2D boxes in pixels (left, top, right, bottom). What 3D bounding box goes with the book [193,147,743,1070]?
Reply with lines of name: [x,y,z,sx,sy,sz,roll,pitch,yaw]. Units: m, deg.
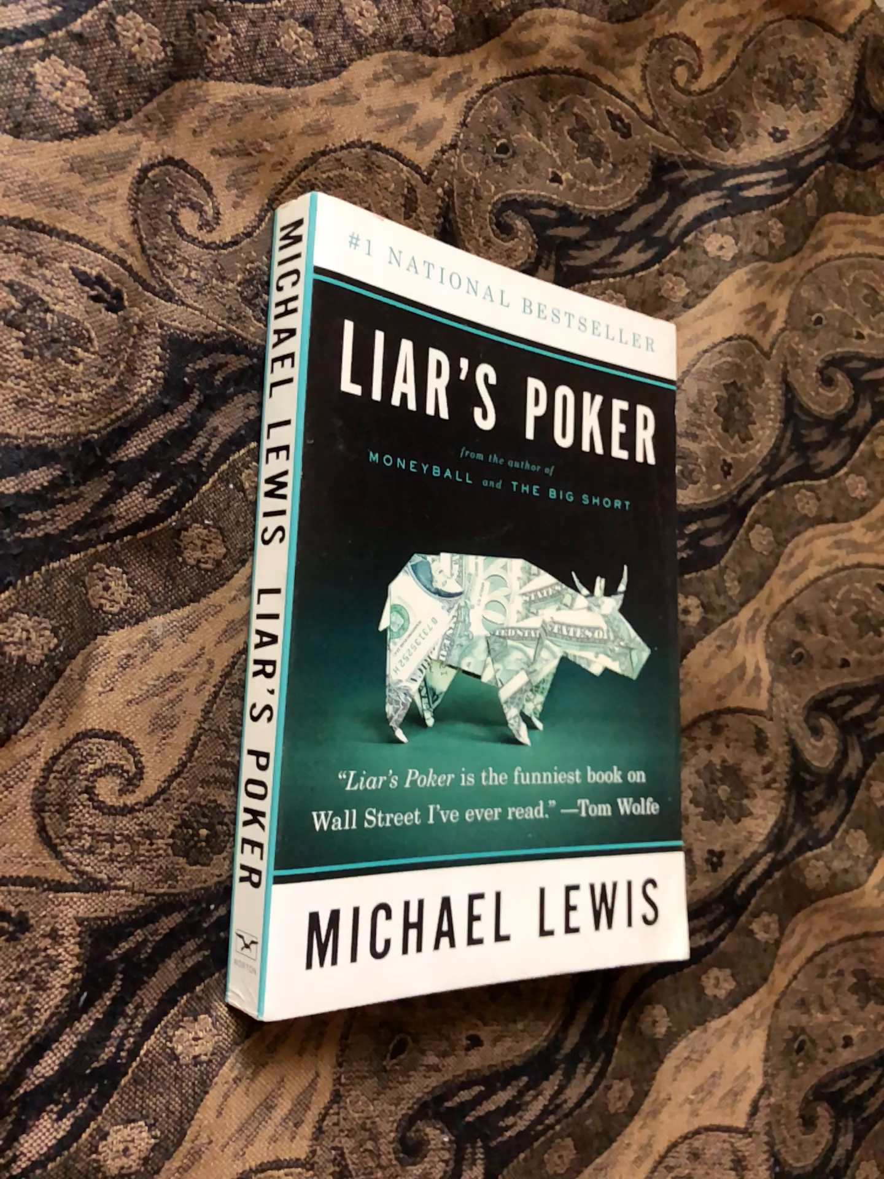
book: [0.018,0.009,0.283,0.151,0.040,0.210,8,83,-35]
